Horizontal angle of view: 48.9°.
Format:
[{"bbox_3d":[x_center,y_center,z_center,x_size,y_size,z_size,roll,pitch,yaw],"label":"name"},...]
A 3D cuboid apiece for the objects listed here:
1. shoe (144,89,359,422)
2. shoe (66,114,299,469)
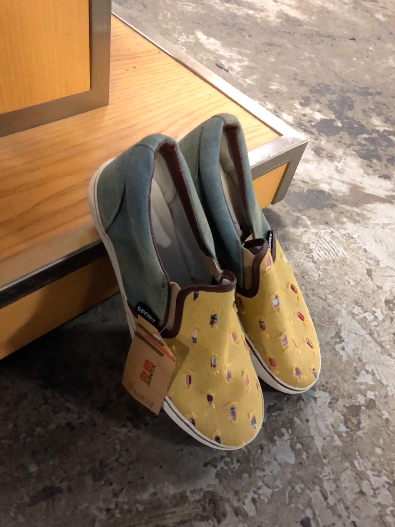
[{"bbox_3d":[0.056,-0.004,0.424,0.090,0.279,0.100,-27,18,-25],"label":"shoe"},{"bbox_3d":[-0.013,0.021,0.385,0.090,0.259,0.120,-24,16,-28],"label":"shoe"}]
